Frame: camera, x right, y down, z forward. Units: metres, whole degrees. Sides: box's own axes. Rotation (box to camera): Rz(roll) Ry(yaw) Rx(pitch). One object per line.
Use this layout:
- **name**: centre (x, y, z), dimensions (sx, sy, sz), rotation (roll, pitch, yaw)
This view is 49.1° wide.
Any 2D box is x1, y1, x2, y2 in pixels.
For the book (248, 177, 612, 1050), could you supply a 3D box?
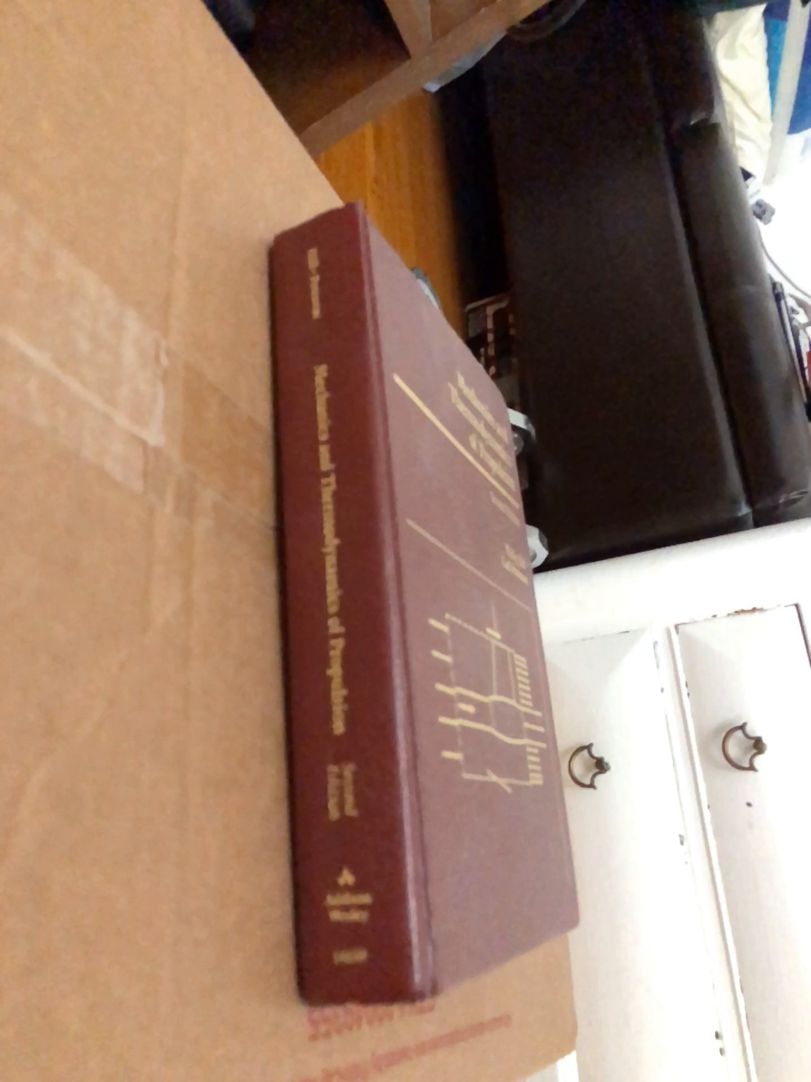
- **book**: centre (0.016, 0.029, 0.325), dimensions (0.191, 0.040, 0.240), rotation (35, 45, -60)
